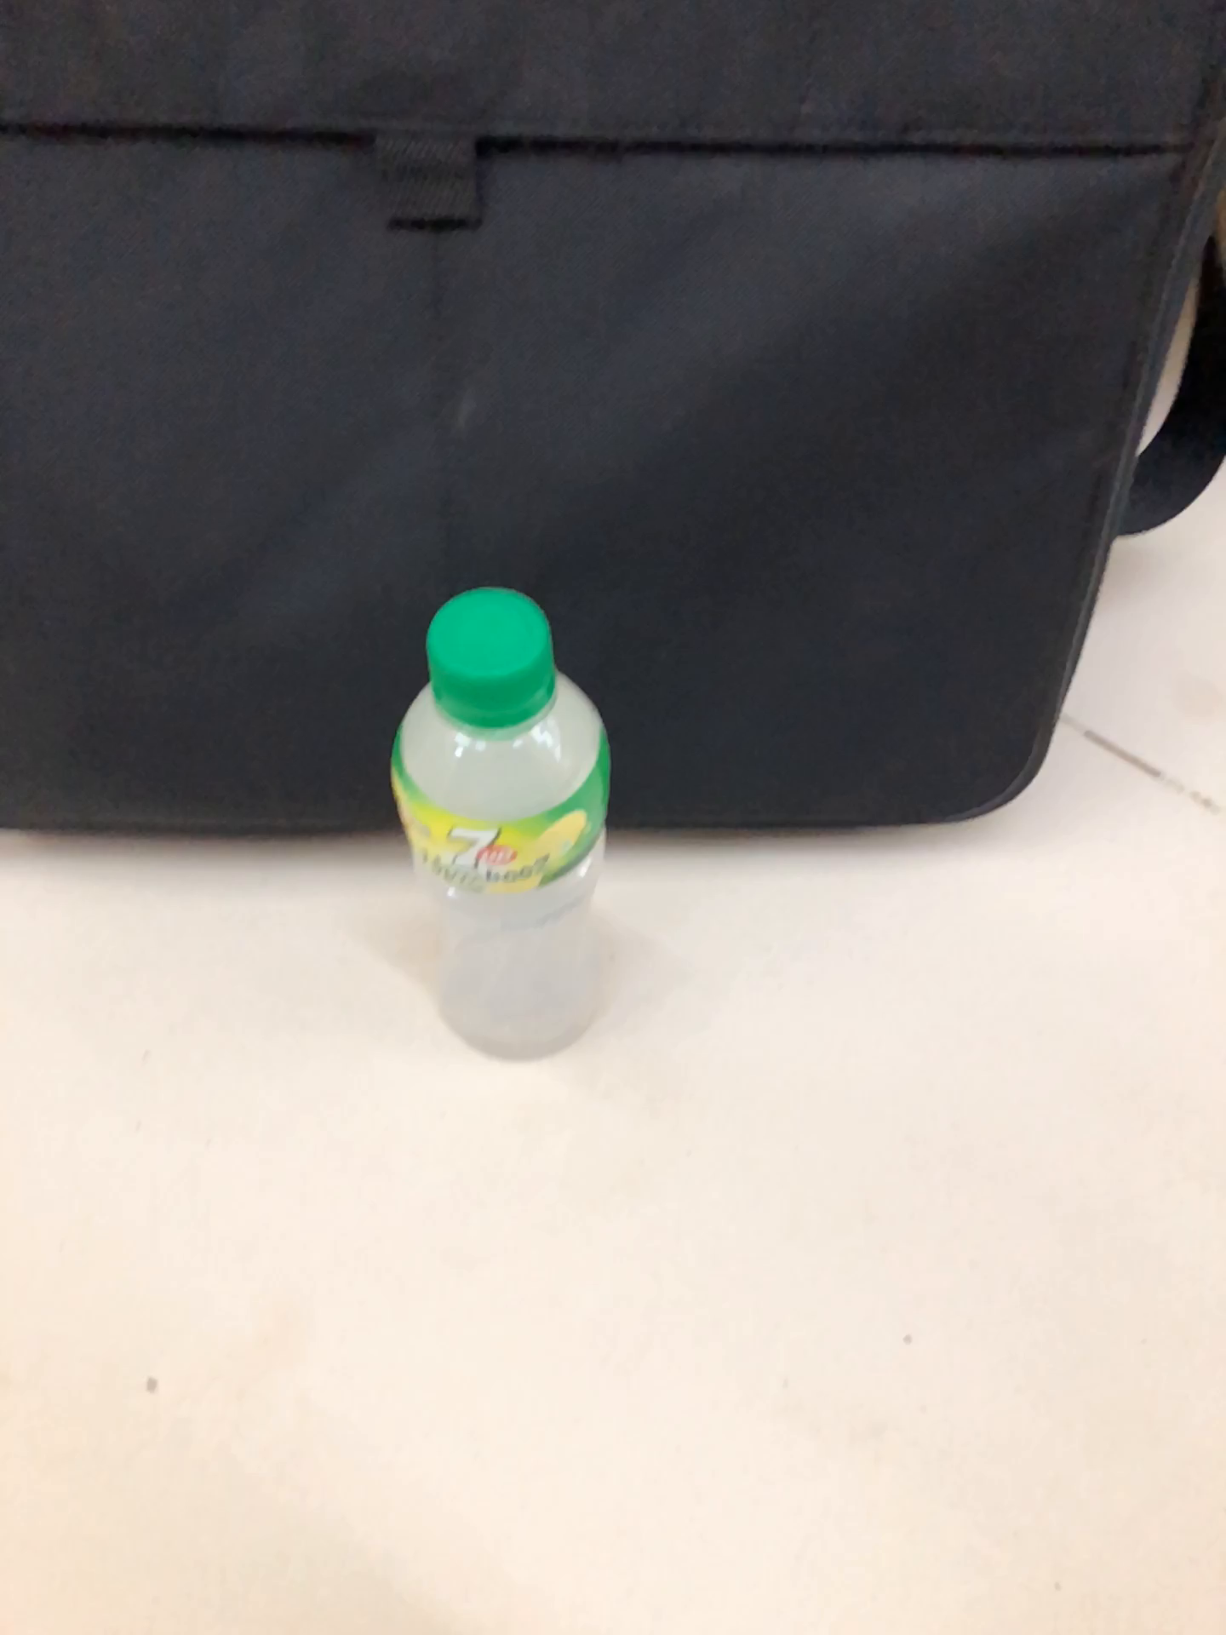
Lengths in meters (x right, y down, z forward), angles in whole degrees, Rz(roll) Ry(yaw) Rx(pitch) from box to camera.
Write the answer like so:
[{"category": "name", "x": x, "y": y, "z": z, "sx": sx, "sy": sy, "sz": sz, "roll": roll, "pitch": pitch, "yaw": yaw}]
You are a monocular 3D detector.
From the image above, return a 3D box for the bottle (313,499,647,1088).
[{"category": "bottle", "x": -0.030, "y": 0.006, "z": 0.389, "sx": 0.070, "sy": 0.189, "sz": 0.070, "roll": 1, "pitch": 56, "yaw": -1}]
